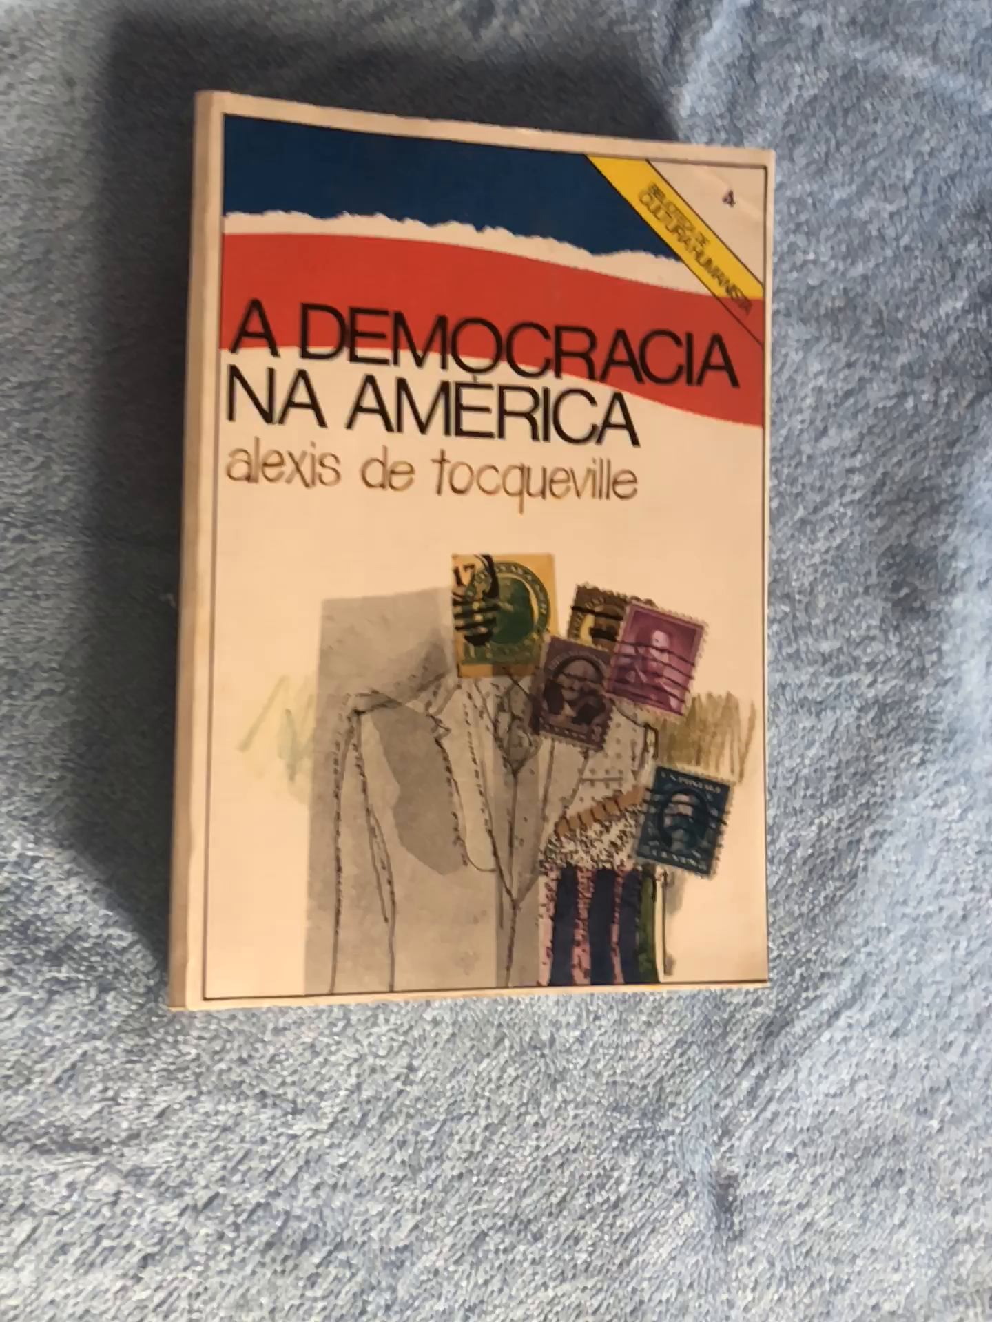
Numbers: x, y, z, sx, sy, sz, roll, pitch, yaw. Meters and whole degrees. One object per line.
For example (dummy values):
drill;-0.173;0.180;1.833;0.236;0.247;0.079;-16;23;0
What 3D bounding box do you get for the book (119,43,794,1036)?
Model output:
book;-0.009;-0.023;0.261;0.140;0.050;0.200;2;90;-11
